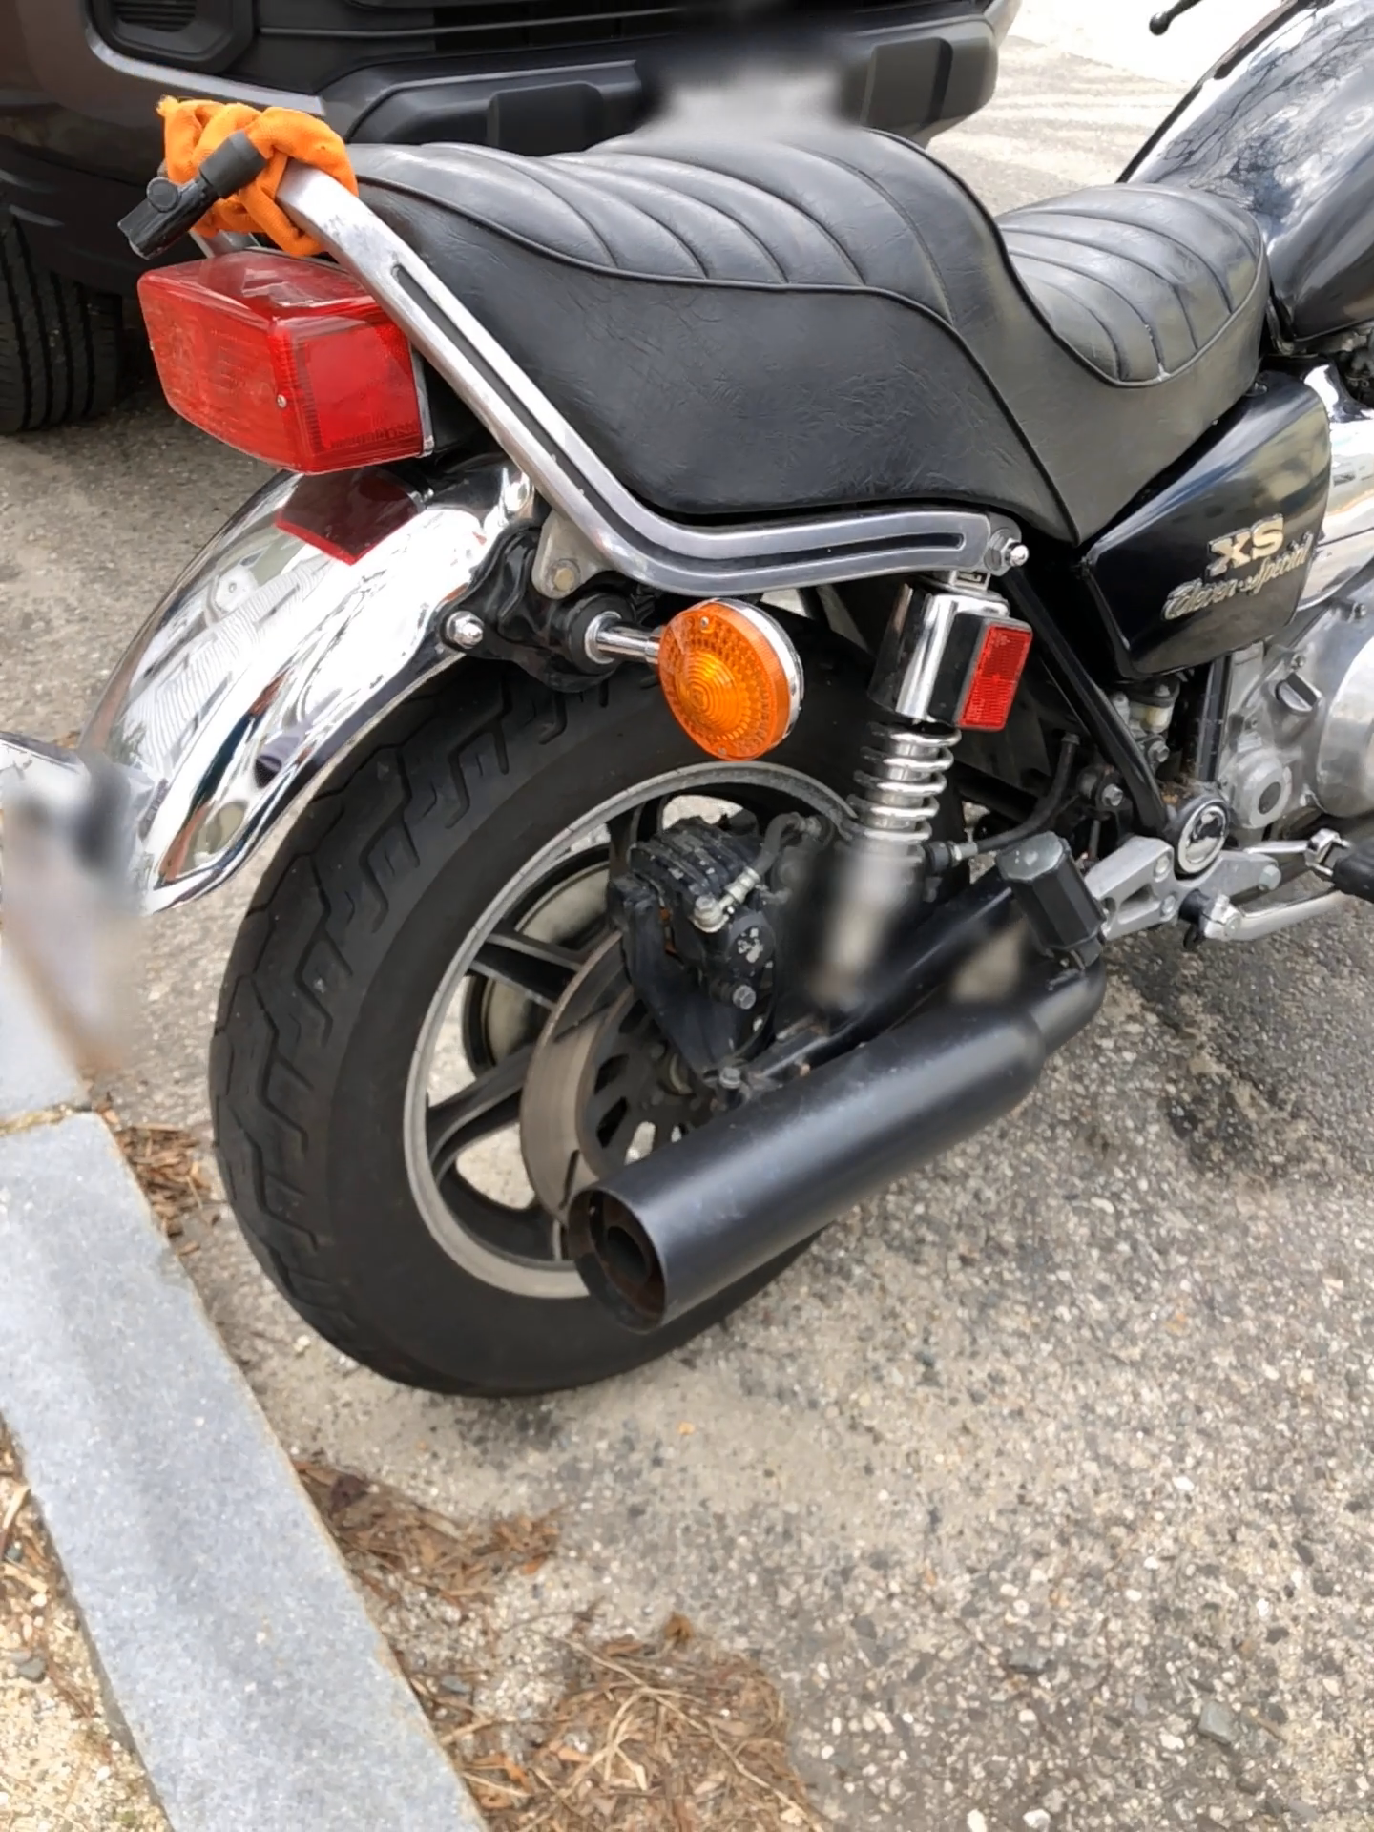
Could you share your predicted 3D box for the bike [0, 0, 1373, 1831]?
[{"bbox_3d":[0.599,-0.455,1.446,2.305,1.417,0.688,-26,46,-31],"label":"bike"}]
